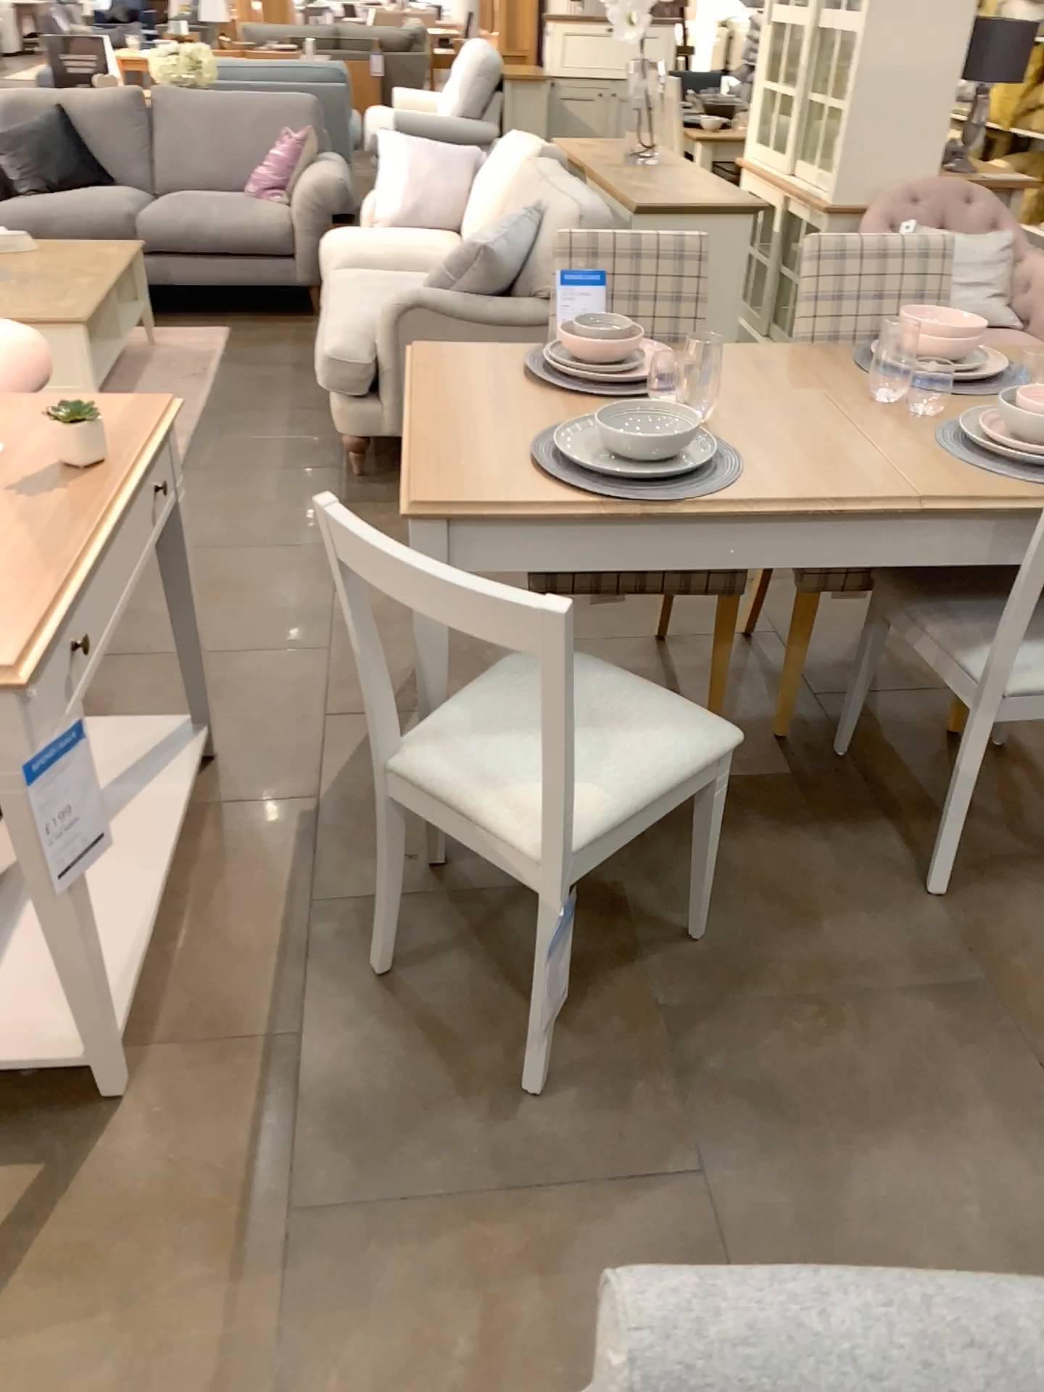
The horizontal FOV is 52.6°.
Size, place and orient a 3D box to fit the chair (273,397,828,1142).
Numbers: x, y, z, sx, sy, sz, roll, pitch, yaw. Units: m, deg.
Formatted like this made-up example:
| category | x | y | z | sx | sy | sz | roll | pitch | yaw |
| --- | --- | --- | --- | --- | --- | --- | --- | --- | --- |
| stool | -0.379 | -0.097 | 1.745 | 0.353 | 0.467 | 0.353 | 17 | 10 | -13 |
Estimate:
| category | x | y | z | sx | sy | sz | roll | pitch | yaw |
| --- | --- | --- | --- | --- | --- | --- | --- | --- | --- |
| chair | 0.036 | 0.082 | 1.543 | 0.462 | 0.817 | 0.537 | 26 | 40 | 32 |

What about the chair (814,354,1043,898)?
| category | x | y | z | sx | sy | sz | roll | pitch | yaw |
| --- | --- | --- | --- | --- | --- | --- | --- | --- | --- |
| chair | 0.915 | -0.135 | 1.945 | 0.430 | 0.817 | 0.539 | -3 | 34 | -8 |
